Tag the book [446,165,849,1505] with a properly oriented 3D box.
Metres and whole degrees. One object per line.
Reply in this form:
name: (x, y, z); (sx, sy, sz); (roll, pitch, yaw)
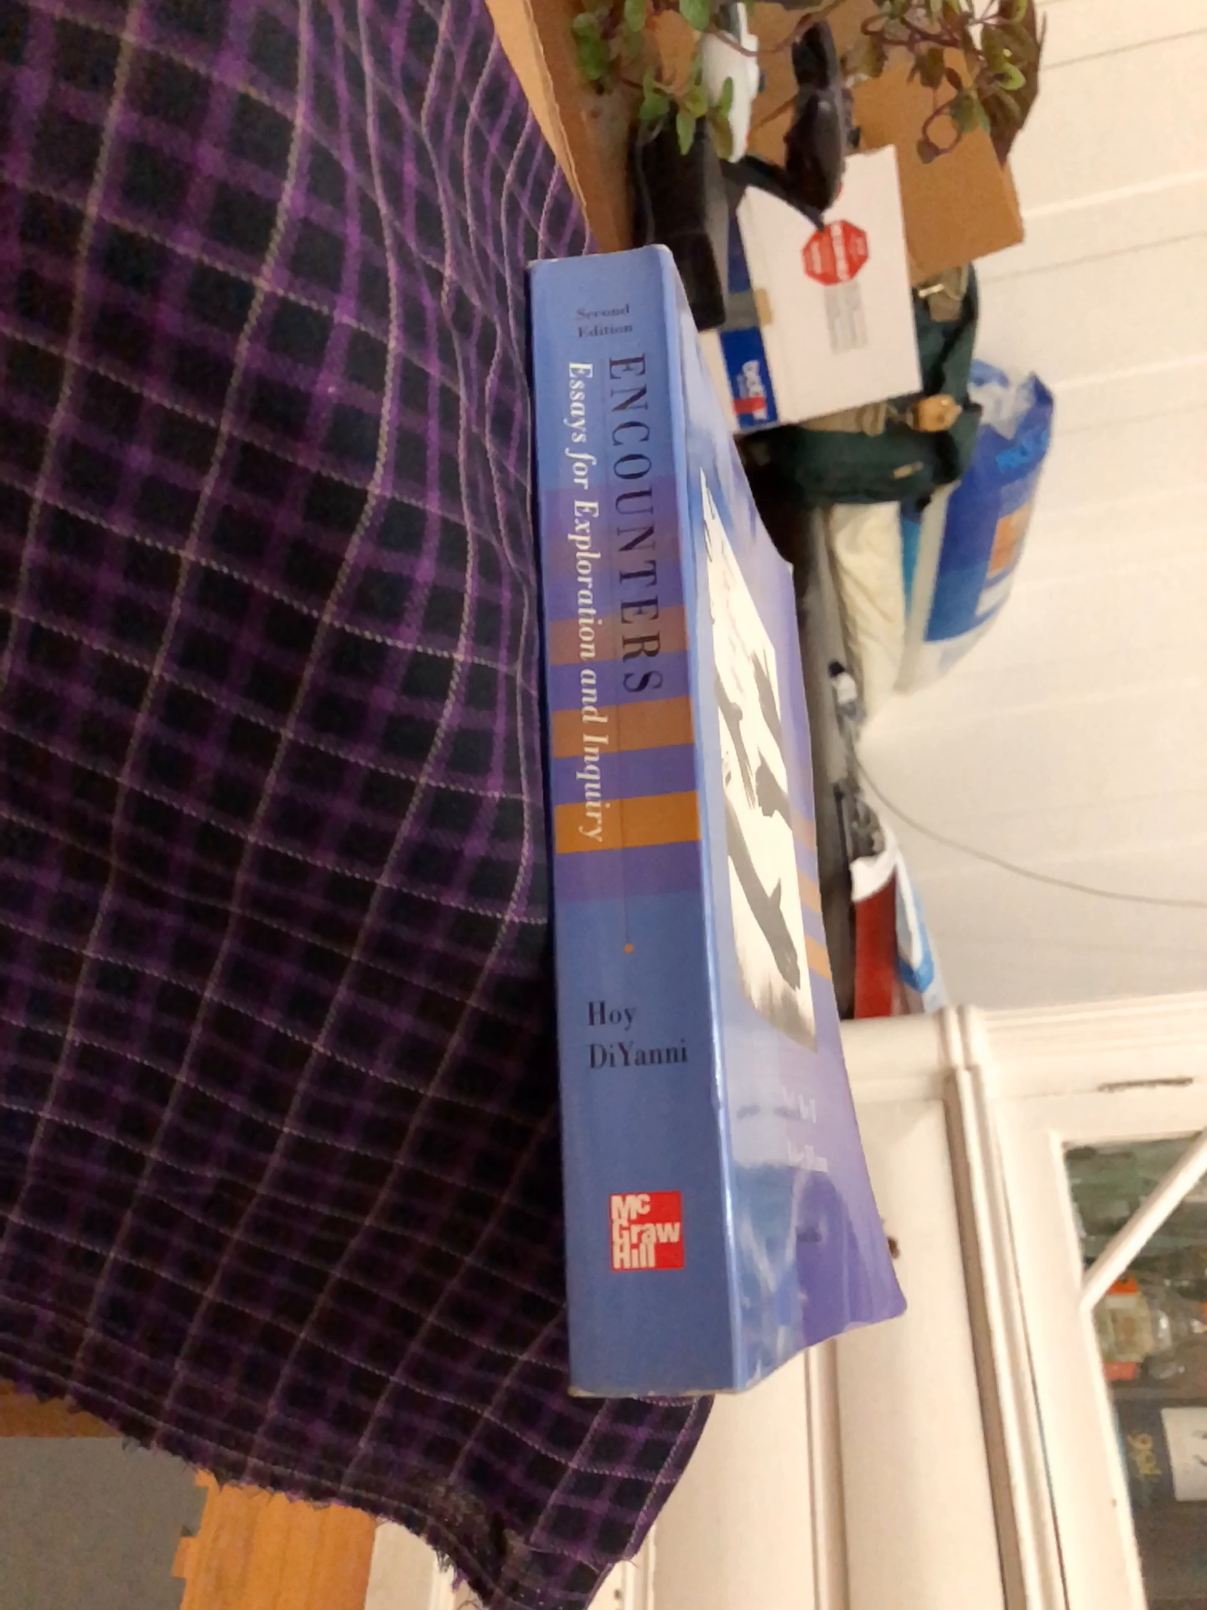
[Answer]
book: (0.019, 0.016, 0.347); (0.200, 0.040, 0.260); (46, 38, -68)
